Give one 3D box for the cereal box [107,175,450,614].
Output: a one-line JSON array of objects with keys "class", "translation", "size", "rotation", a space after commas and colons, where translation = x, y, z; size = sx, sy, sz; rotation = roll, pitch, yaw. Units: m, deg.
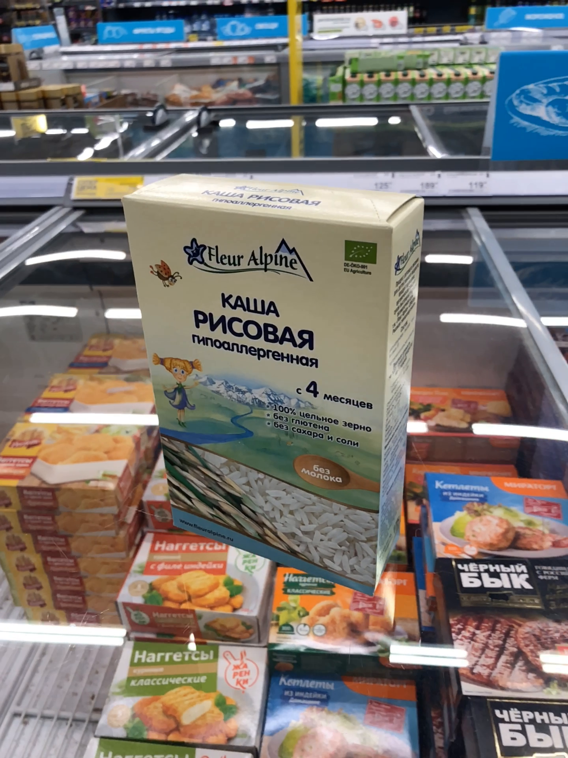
[{"class": "cereal box", "translation": [-0.001, 0.008, 0.320], "size": [0.140, 0.199, 0.050], "rotation": [12, 33, 24]}]
